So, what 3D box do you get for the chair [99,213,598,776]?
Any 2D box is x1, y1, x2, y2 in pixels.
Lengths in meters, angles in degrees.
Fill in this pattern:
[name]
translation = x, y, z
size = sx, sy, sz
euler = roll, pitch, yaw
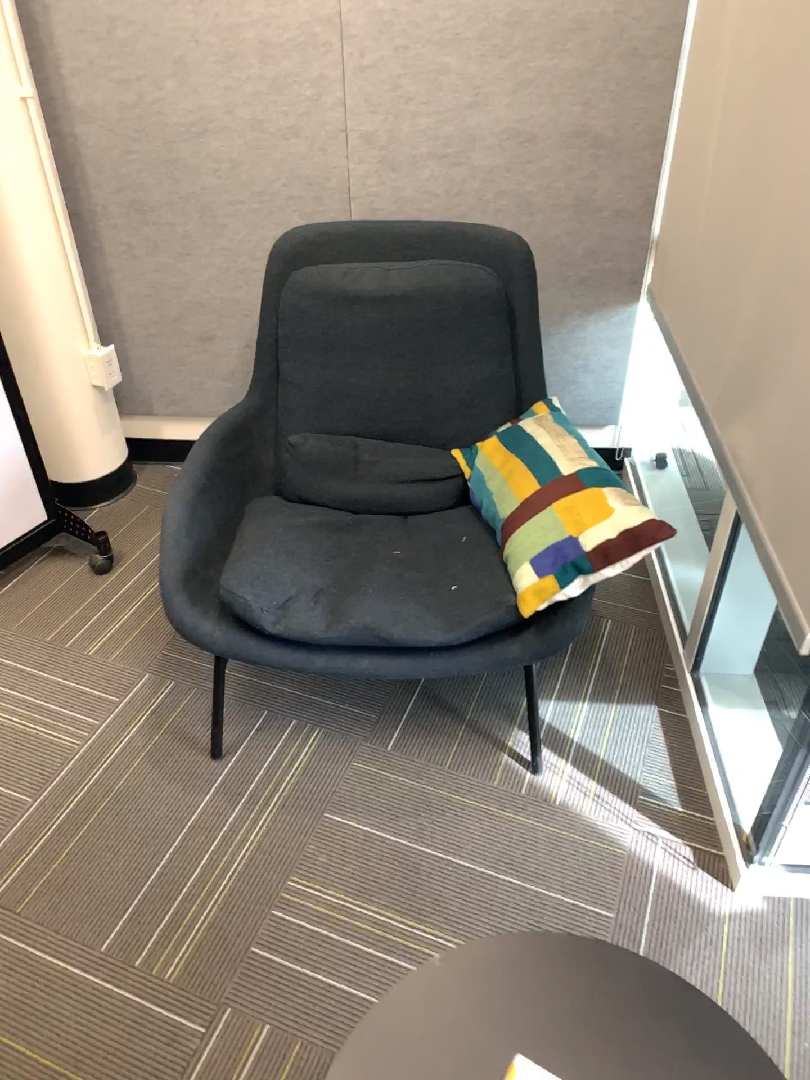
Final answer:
[chair]
translation = -0.016, -0.174, 1.914
size = 0.790, 0.815, 1.005
euler = 5, 38, 8
